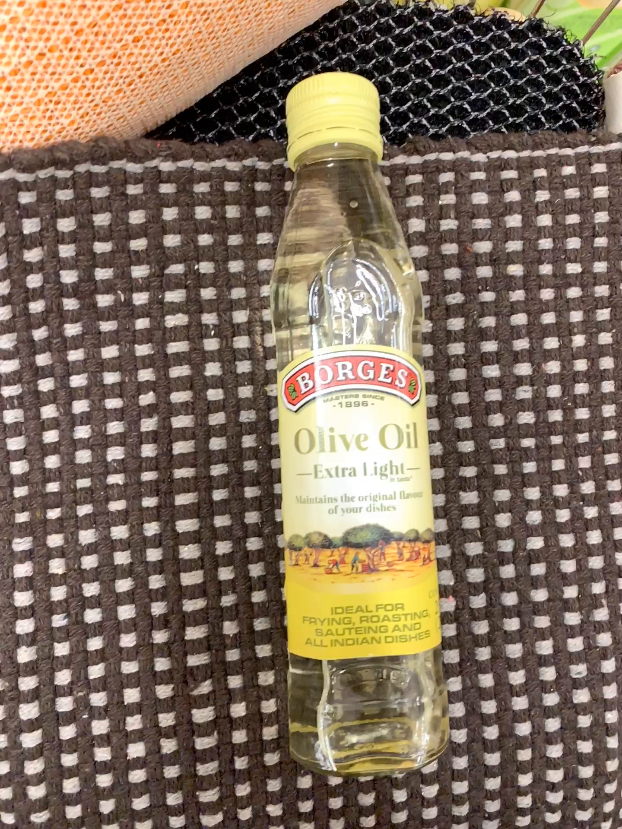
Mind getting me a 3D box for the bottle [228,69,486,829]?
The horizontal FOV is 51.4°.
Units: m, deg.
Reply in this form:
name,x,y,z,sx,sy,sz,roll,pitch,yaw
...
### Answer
name,x,y,z,sx,sy,sz,roll,pitch,yaw
bottle,0.010,0.008,0.190,0.060,0.040,0.200,-2,88,-5
